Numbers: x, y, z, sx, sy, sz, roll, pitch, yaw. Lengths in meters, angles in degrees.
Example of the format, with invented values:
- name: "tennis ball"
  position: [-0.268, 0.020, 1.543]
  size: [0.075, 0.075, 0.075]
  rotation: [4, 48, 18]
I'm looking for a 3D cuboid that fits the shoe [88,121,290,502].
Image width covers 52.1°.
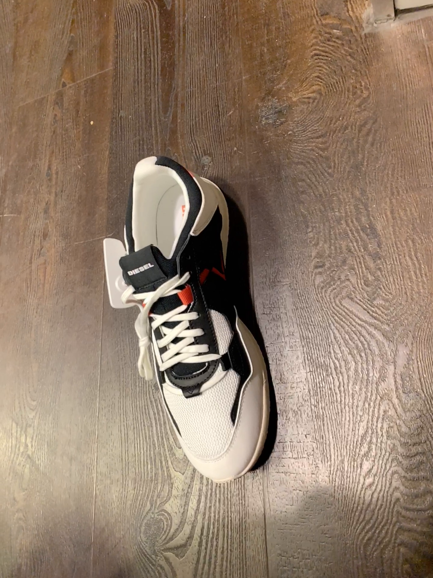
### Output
- name: "shoe"
  position: [-0.031, 0.018, 0.413]
  size: [0.110, 0.109, 0.301]
  rotation: [-17, 69, 21]
